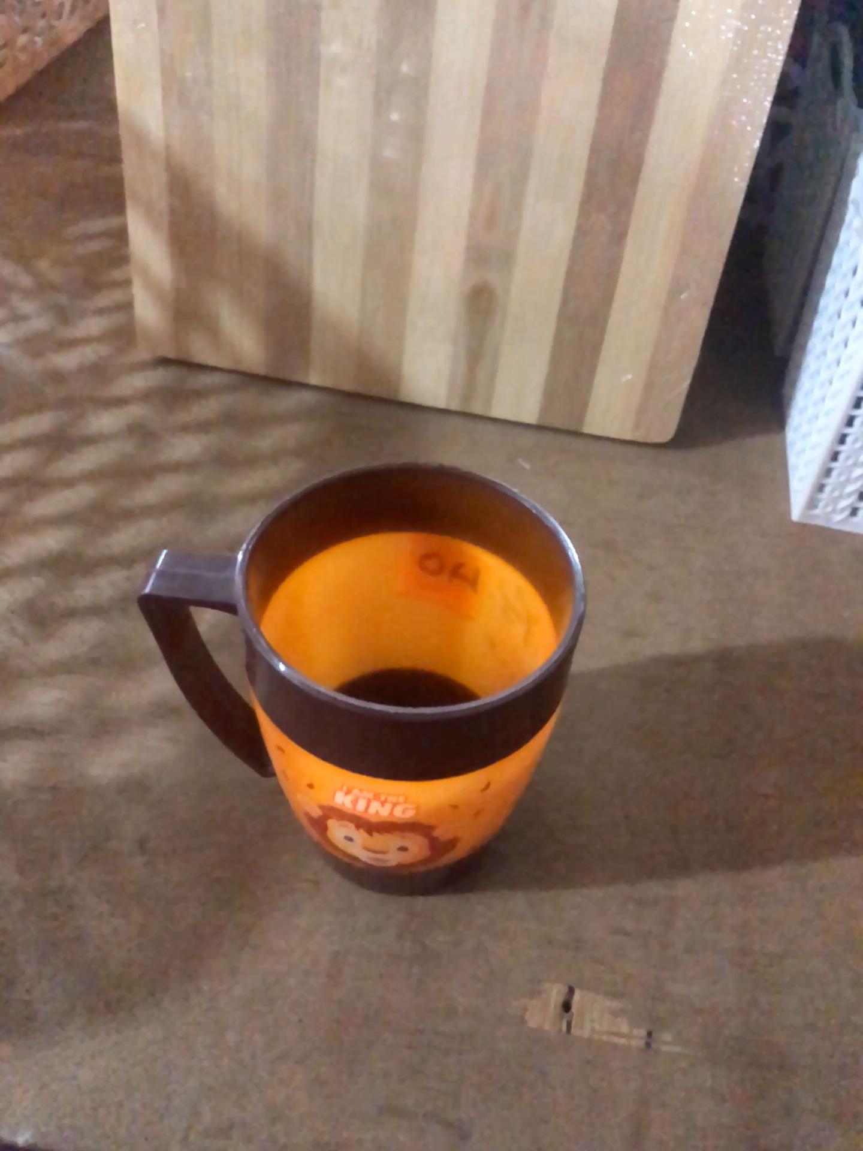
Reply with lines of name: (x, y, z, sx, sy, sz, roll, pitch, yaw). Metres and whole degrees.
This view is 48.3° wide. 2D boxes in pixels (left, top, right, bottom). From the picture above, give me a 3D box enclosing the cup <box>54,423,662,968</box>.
cup: (-0.011, 0.029, 0.213, 0.100, 0.090, 0.060, 12, 49, 7)
